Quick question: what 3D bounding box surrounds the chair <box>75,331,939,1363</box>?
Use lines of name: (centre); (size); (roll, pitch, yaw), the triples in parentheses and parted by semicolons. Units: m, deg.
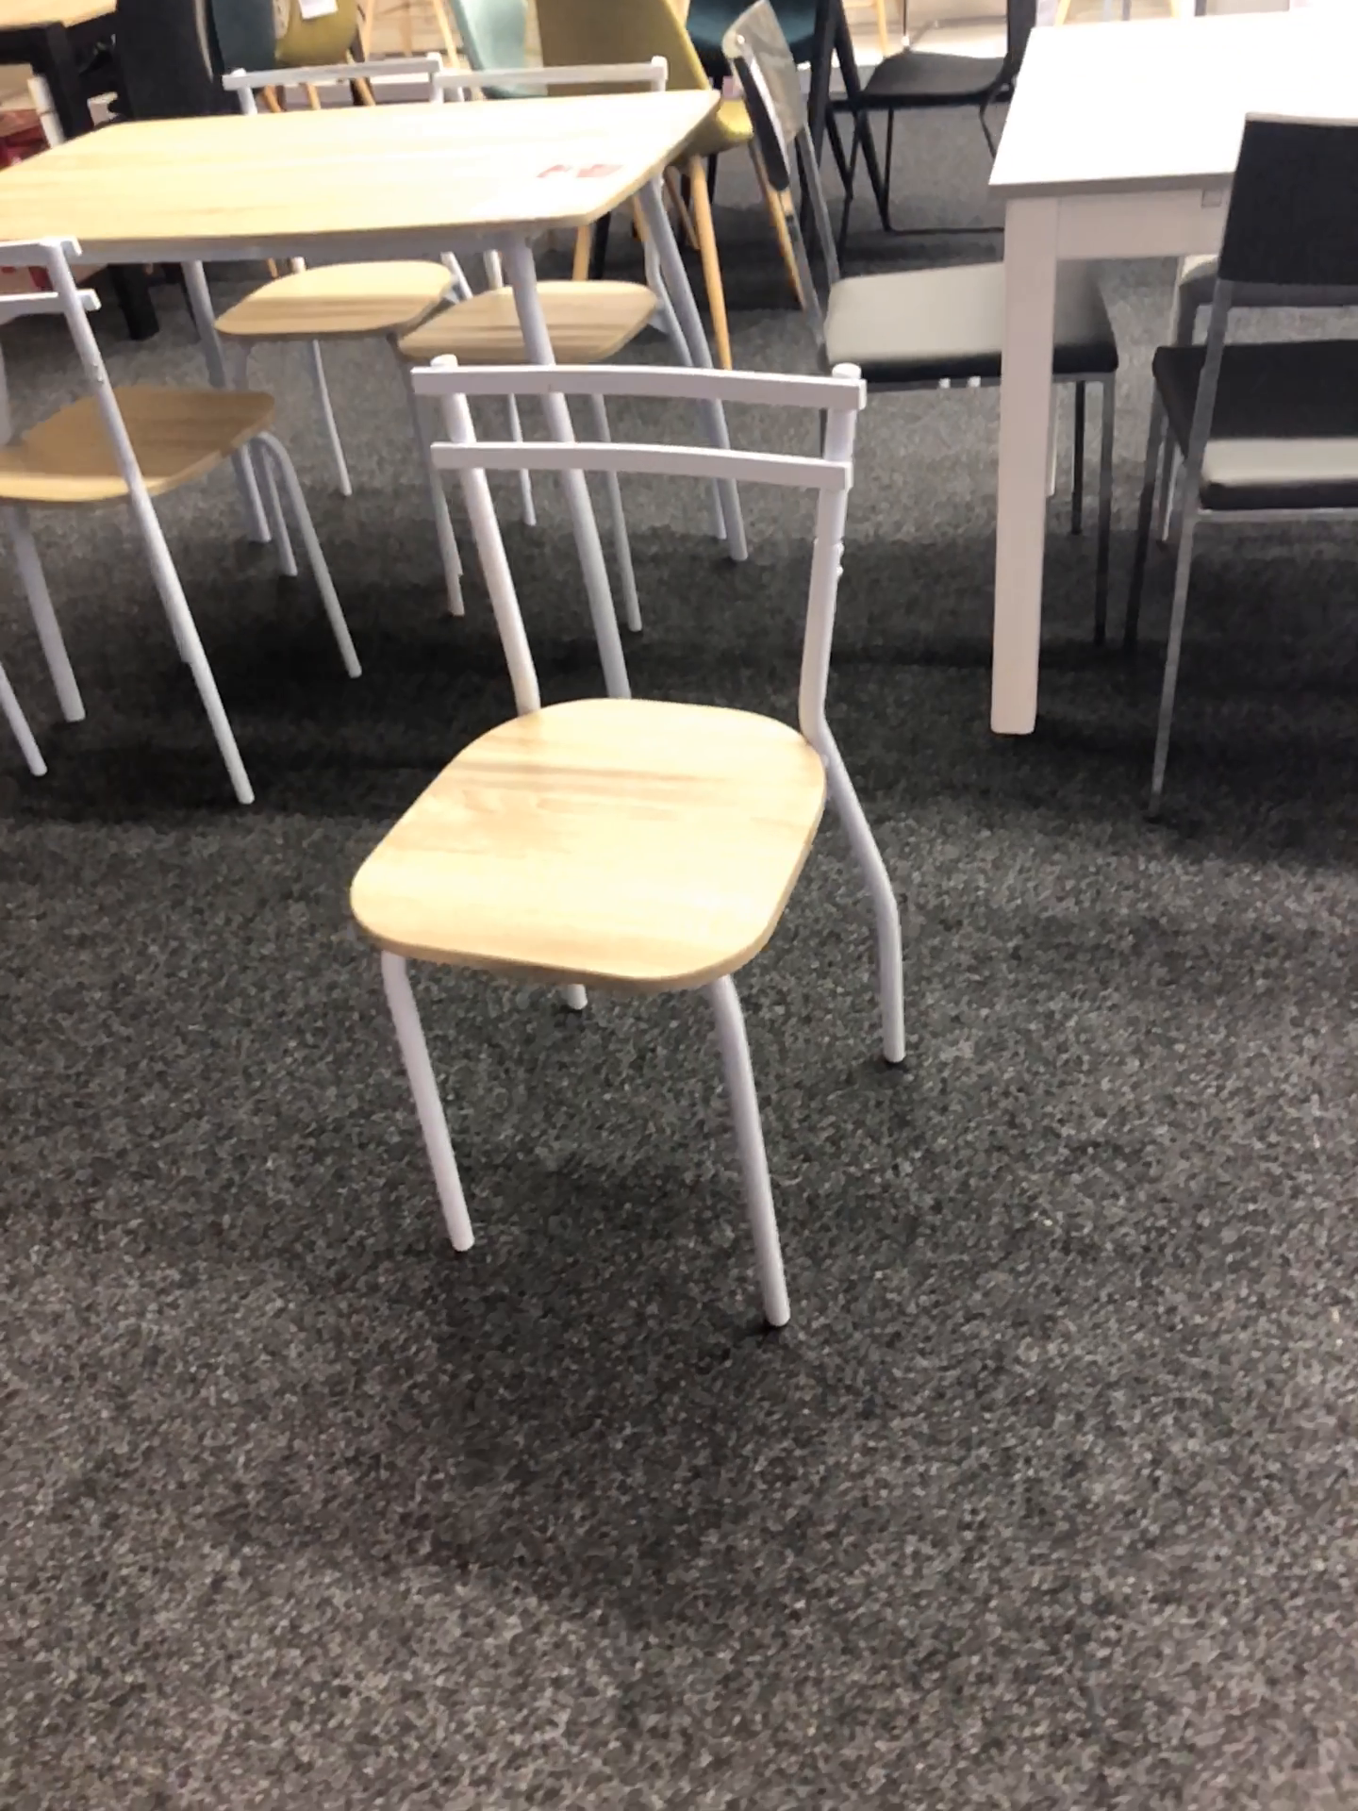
chair: (-0.057, -0.049, 1.286); (0.500, 0.726, 0.443); (5, 40, 16)
